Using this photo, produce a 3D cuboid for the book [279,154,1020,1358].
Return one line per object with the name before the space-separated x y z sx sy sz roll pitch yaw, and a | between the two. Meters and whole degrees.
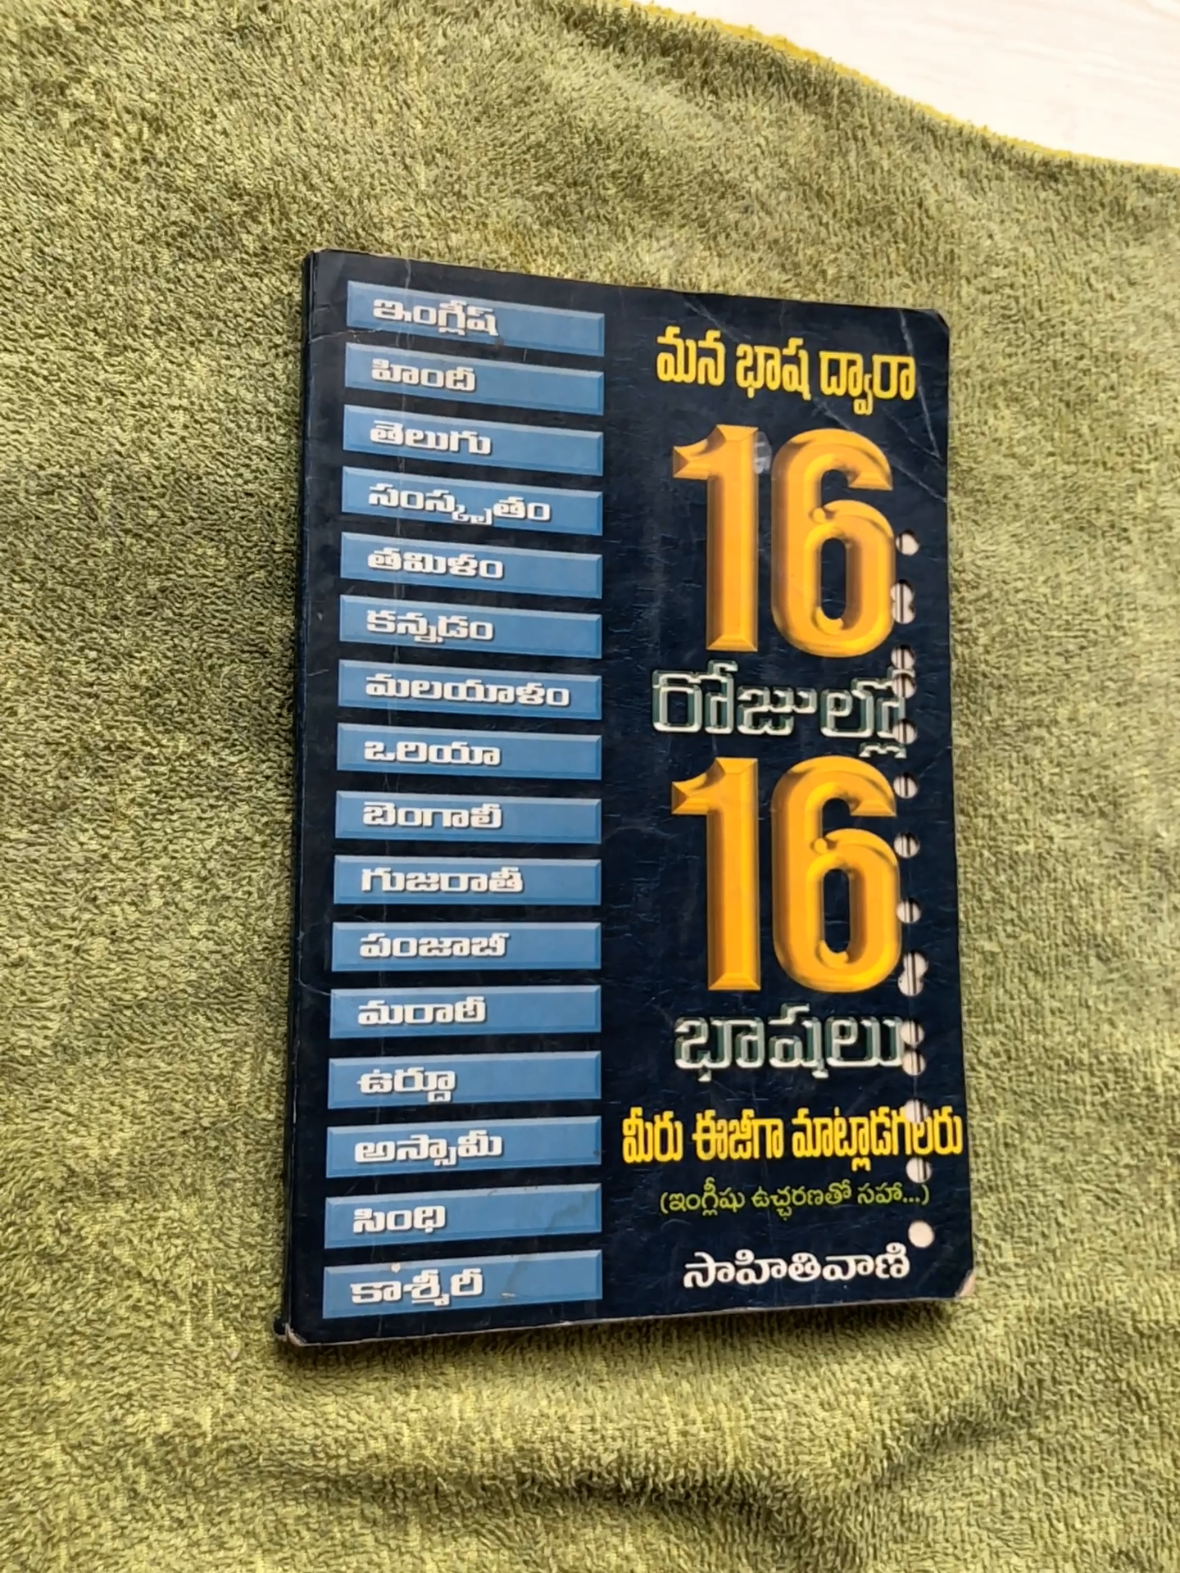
book | 0.013 -0.007 0.268 0.140 0.030 0.220 2 84 -12
